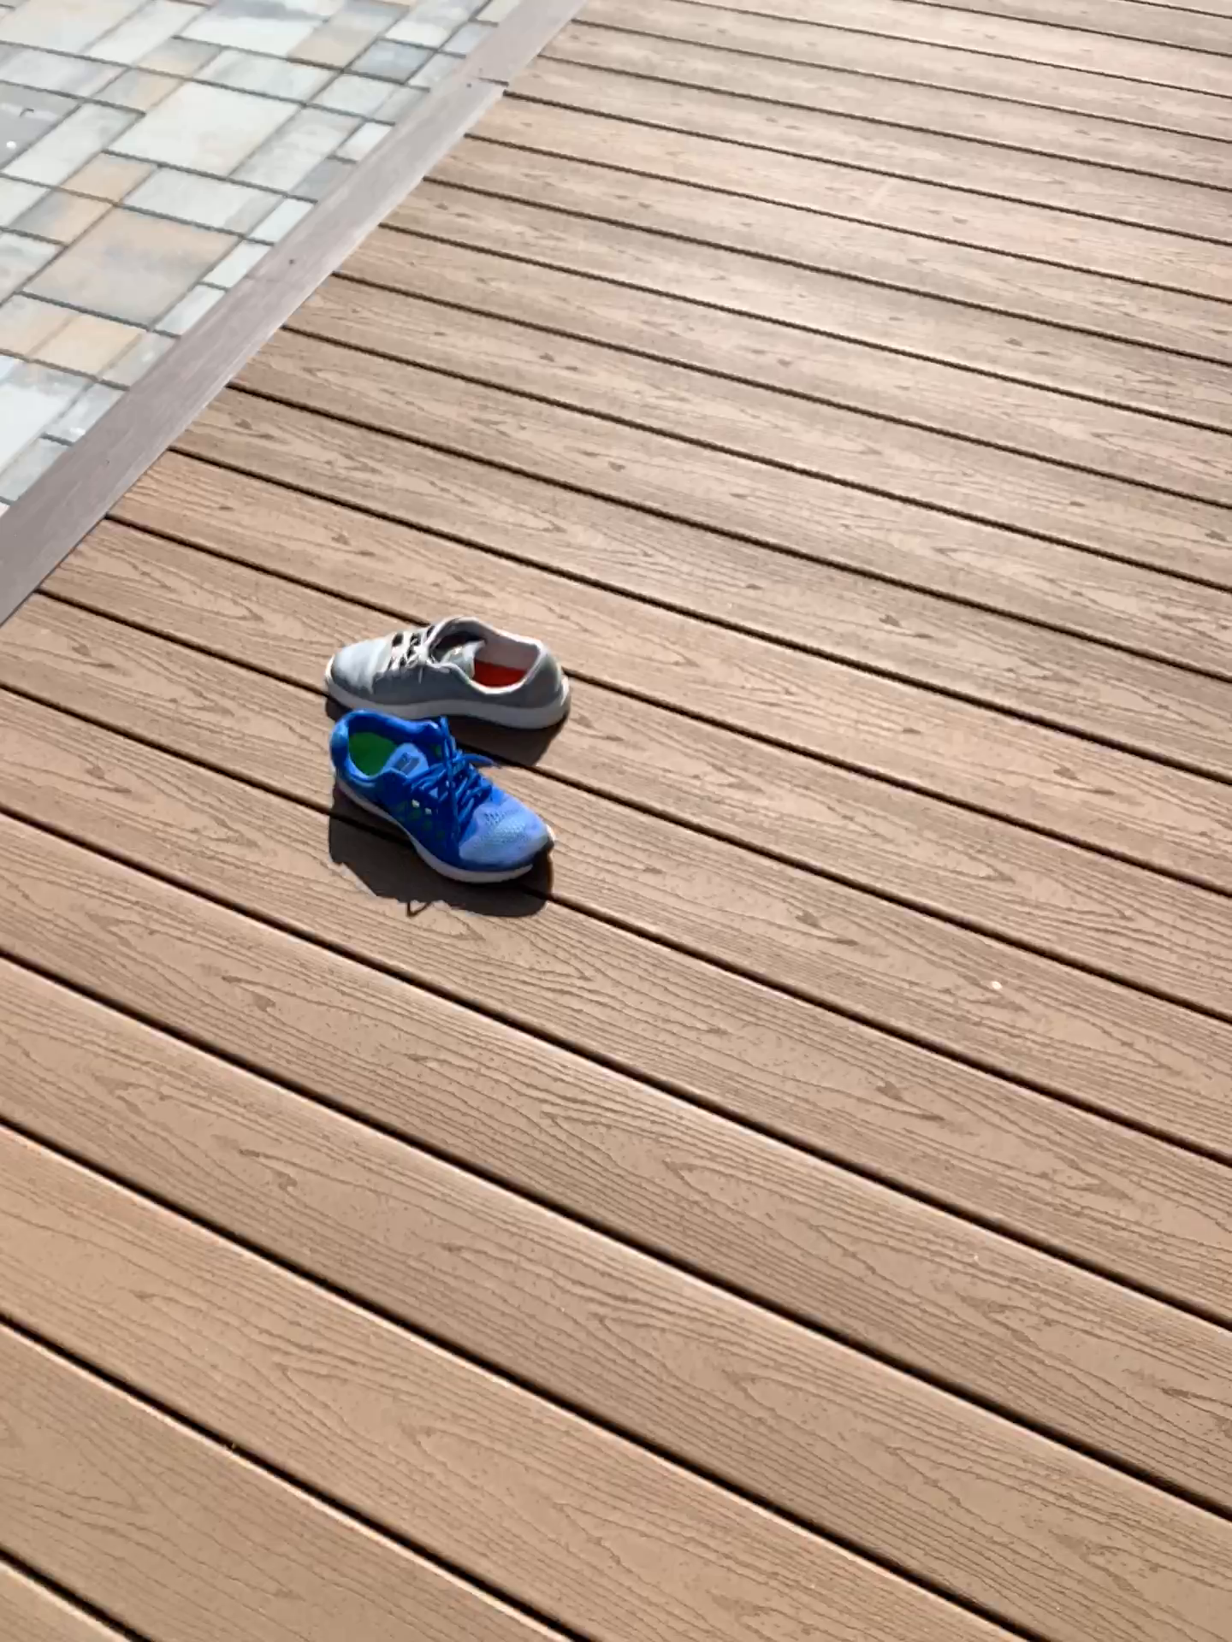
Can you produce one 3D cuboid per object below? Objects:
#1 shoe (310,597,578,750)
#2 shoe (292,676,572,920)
[{"bbox_3d":[-0.194,-0.173,1.475,0.280,0.110,0.110,6,56,6],"label":"shoe"},{"bbox_3d":[-0.193,-0.028,1.335,0.281,0.090,0.110,31,62,21],"label":"shoe"}]
